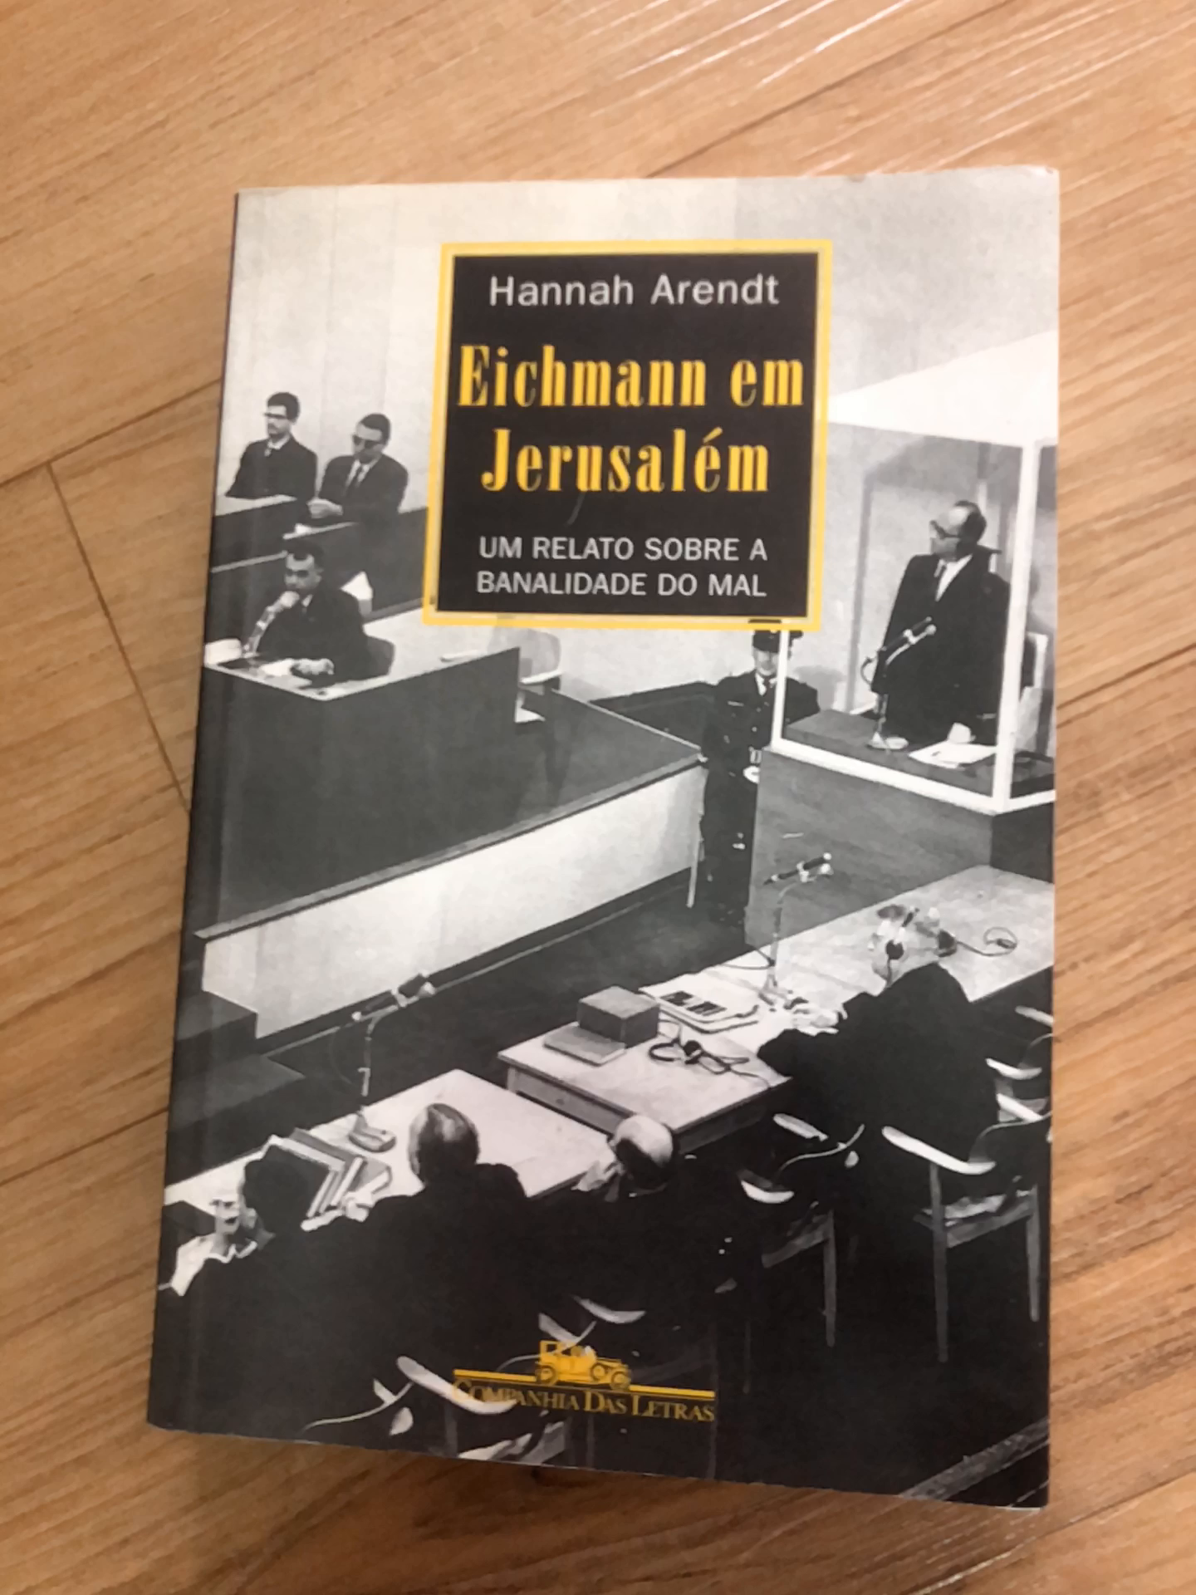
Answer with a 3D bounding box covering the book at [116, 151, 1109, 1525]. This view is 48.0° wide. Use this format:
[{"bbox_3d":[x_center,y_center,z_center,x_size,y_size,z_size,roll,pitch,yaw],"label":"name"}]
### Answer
[{"bbox_3d":[0.004,0.000,0.216,0.144,0.023,0.202,1,84,6],"label":"book"}]
